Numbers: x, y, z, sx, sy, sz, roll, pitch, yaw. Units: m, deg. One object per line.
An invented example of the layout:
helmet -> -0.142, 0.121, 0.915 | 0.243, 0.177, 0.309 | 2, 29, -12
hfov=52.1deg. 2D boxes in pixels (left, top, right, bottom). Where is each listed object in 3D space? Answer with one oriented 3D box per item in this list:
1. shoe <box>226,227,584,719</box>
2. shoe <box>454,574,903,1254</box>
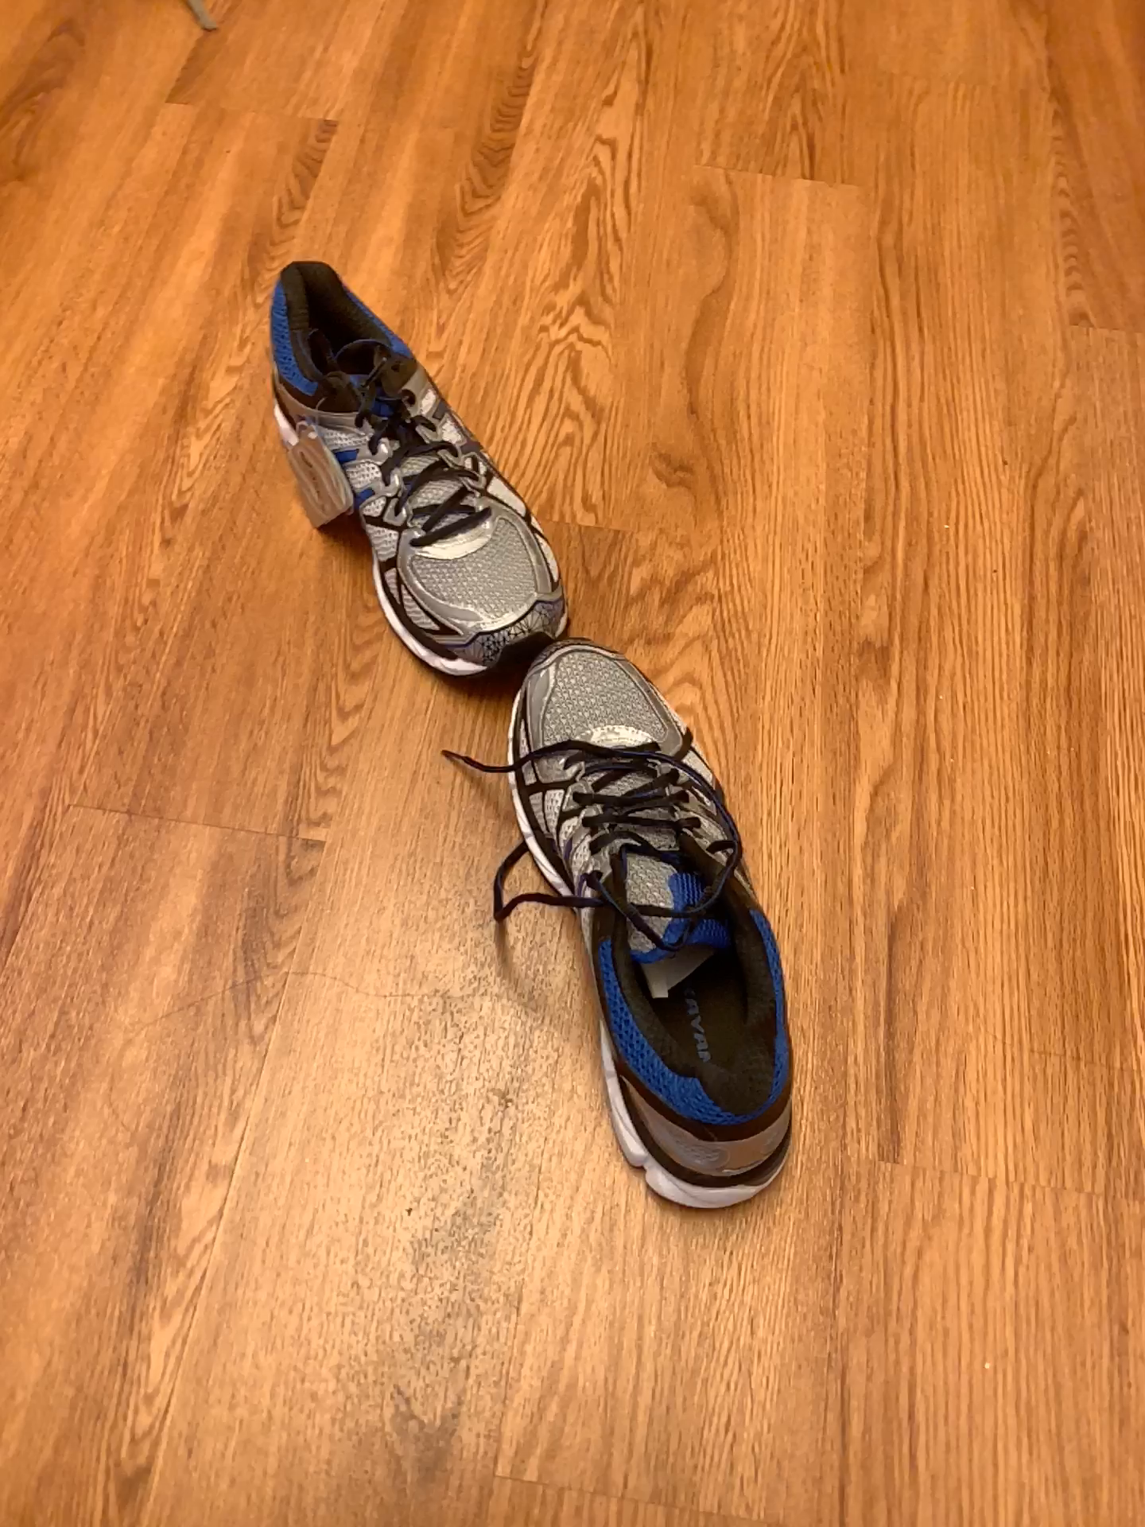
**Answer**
shoe -> -0.105, -0.184, 0.715 | 0.100, 0.100, 0.291 | -23, 64, -14
shoe -> 0.036, 0.066, 0.591 | 0.100, 0.100, 0.311 | -17, 63, -11
